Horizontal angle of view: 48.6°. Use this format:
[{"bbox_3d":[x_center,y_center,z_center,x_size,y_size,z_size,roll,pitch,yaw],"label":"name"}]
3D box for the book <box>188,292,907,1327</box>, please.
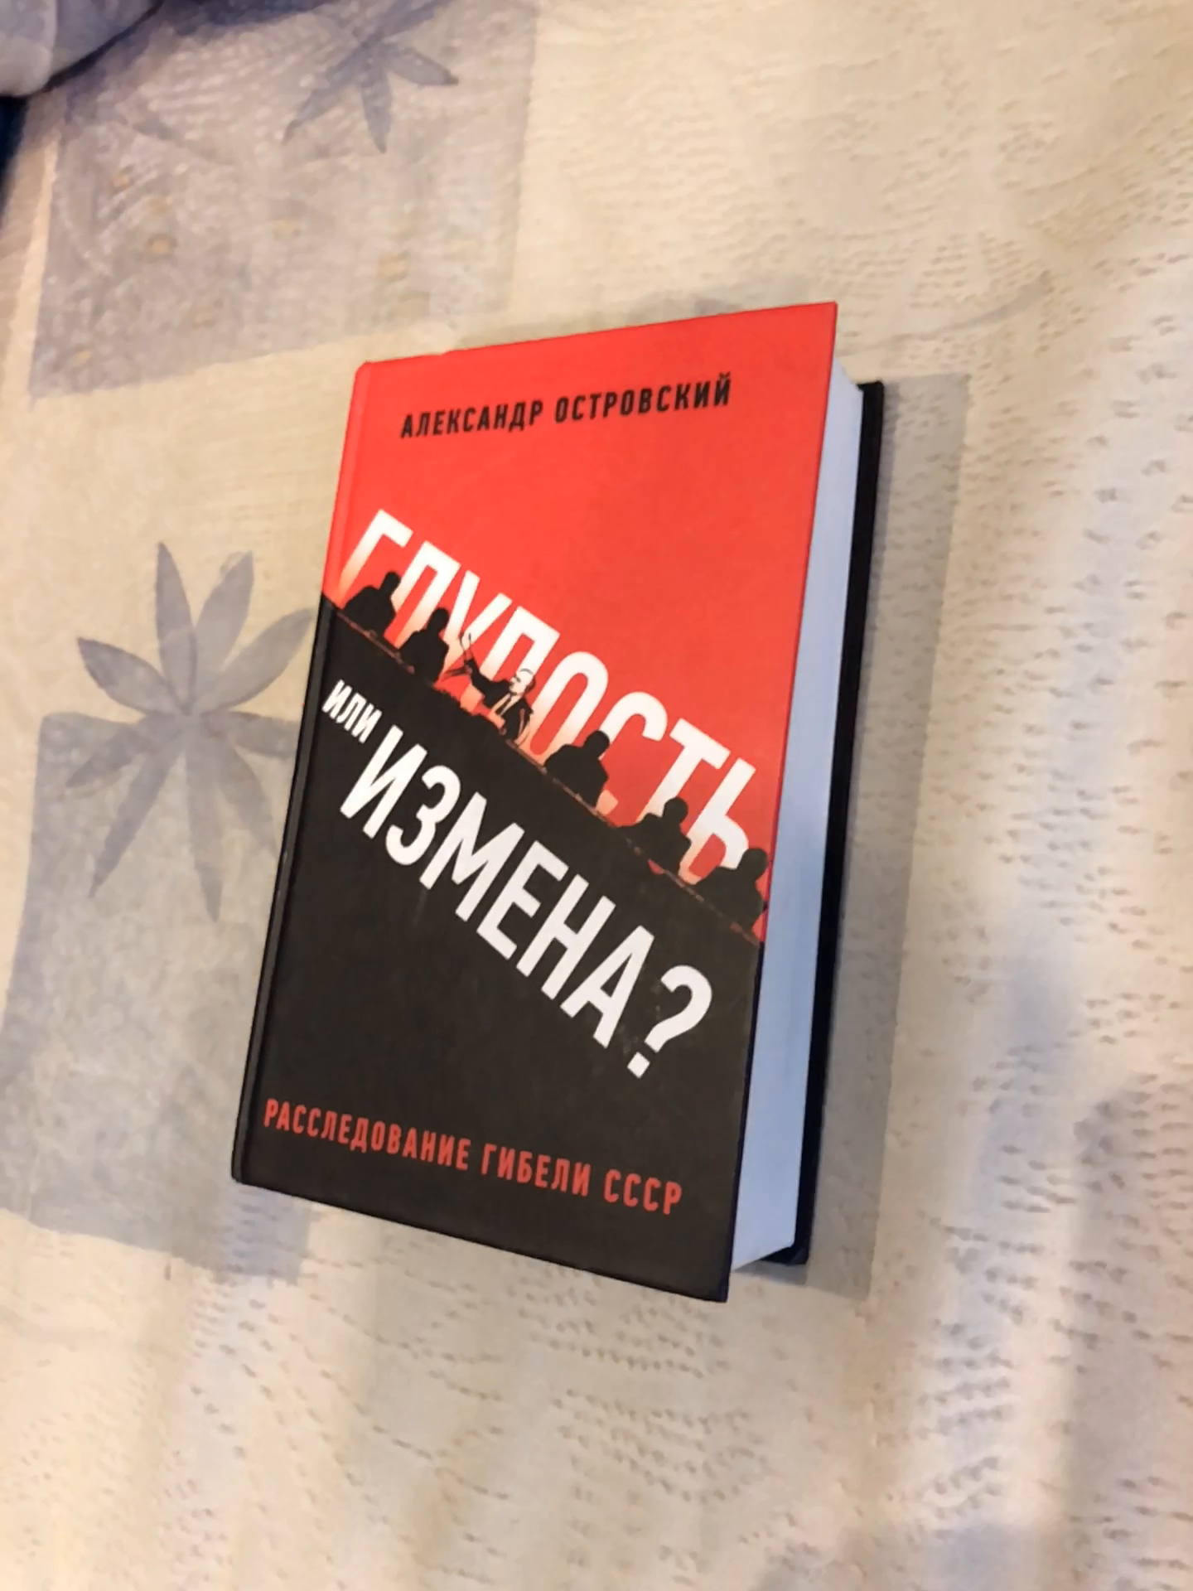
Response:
[{"bbox_3d":[-0.010,-0.001,0.305,0.135,0.050,0.200,2,80,28],"label":"book"}]
